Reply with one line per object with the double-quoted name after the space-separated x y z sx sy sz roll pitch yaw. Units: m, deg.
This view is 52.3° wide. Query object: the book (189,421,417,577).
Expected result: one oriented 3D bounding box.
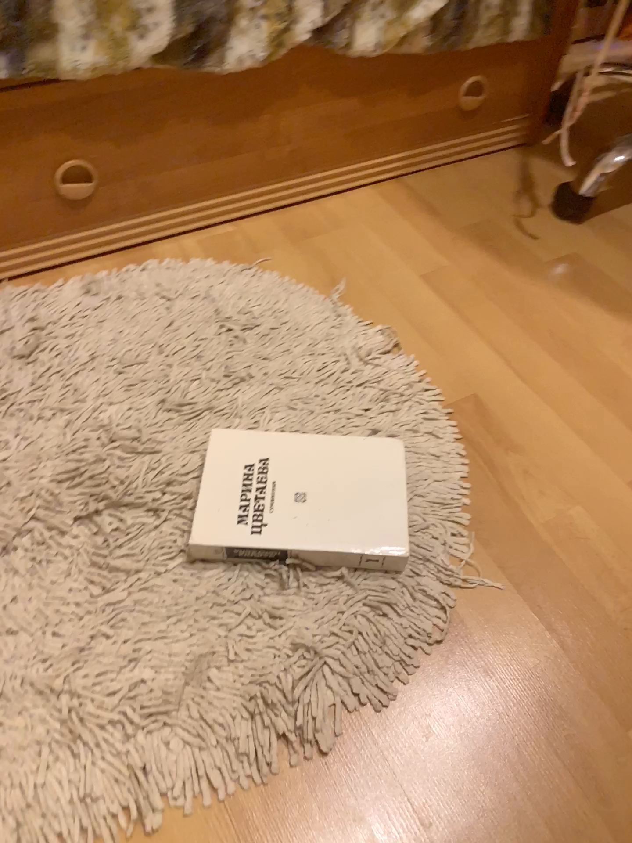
-0.009 0.074 0.646 0.207 0.040 0.141 4 50 0 "book"
